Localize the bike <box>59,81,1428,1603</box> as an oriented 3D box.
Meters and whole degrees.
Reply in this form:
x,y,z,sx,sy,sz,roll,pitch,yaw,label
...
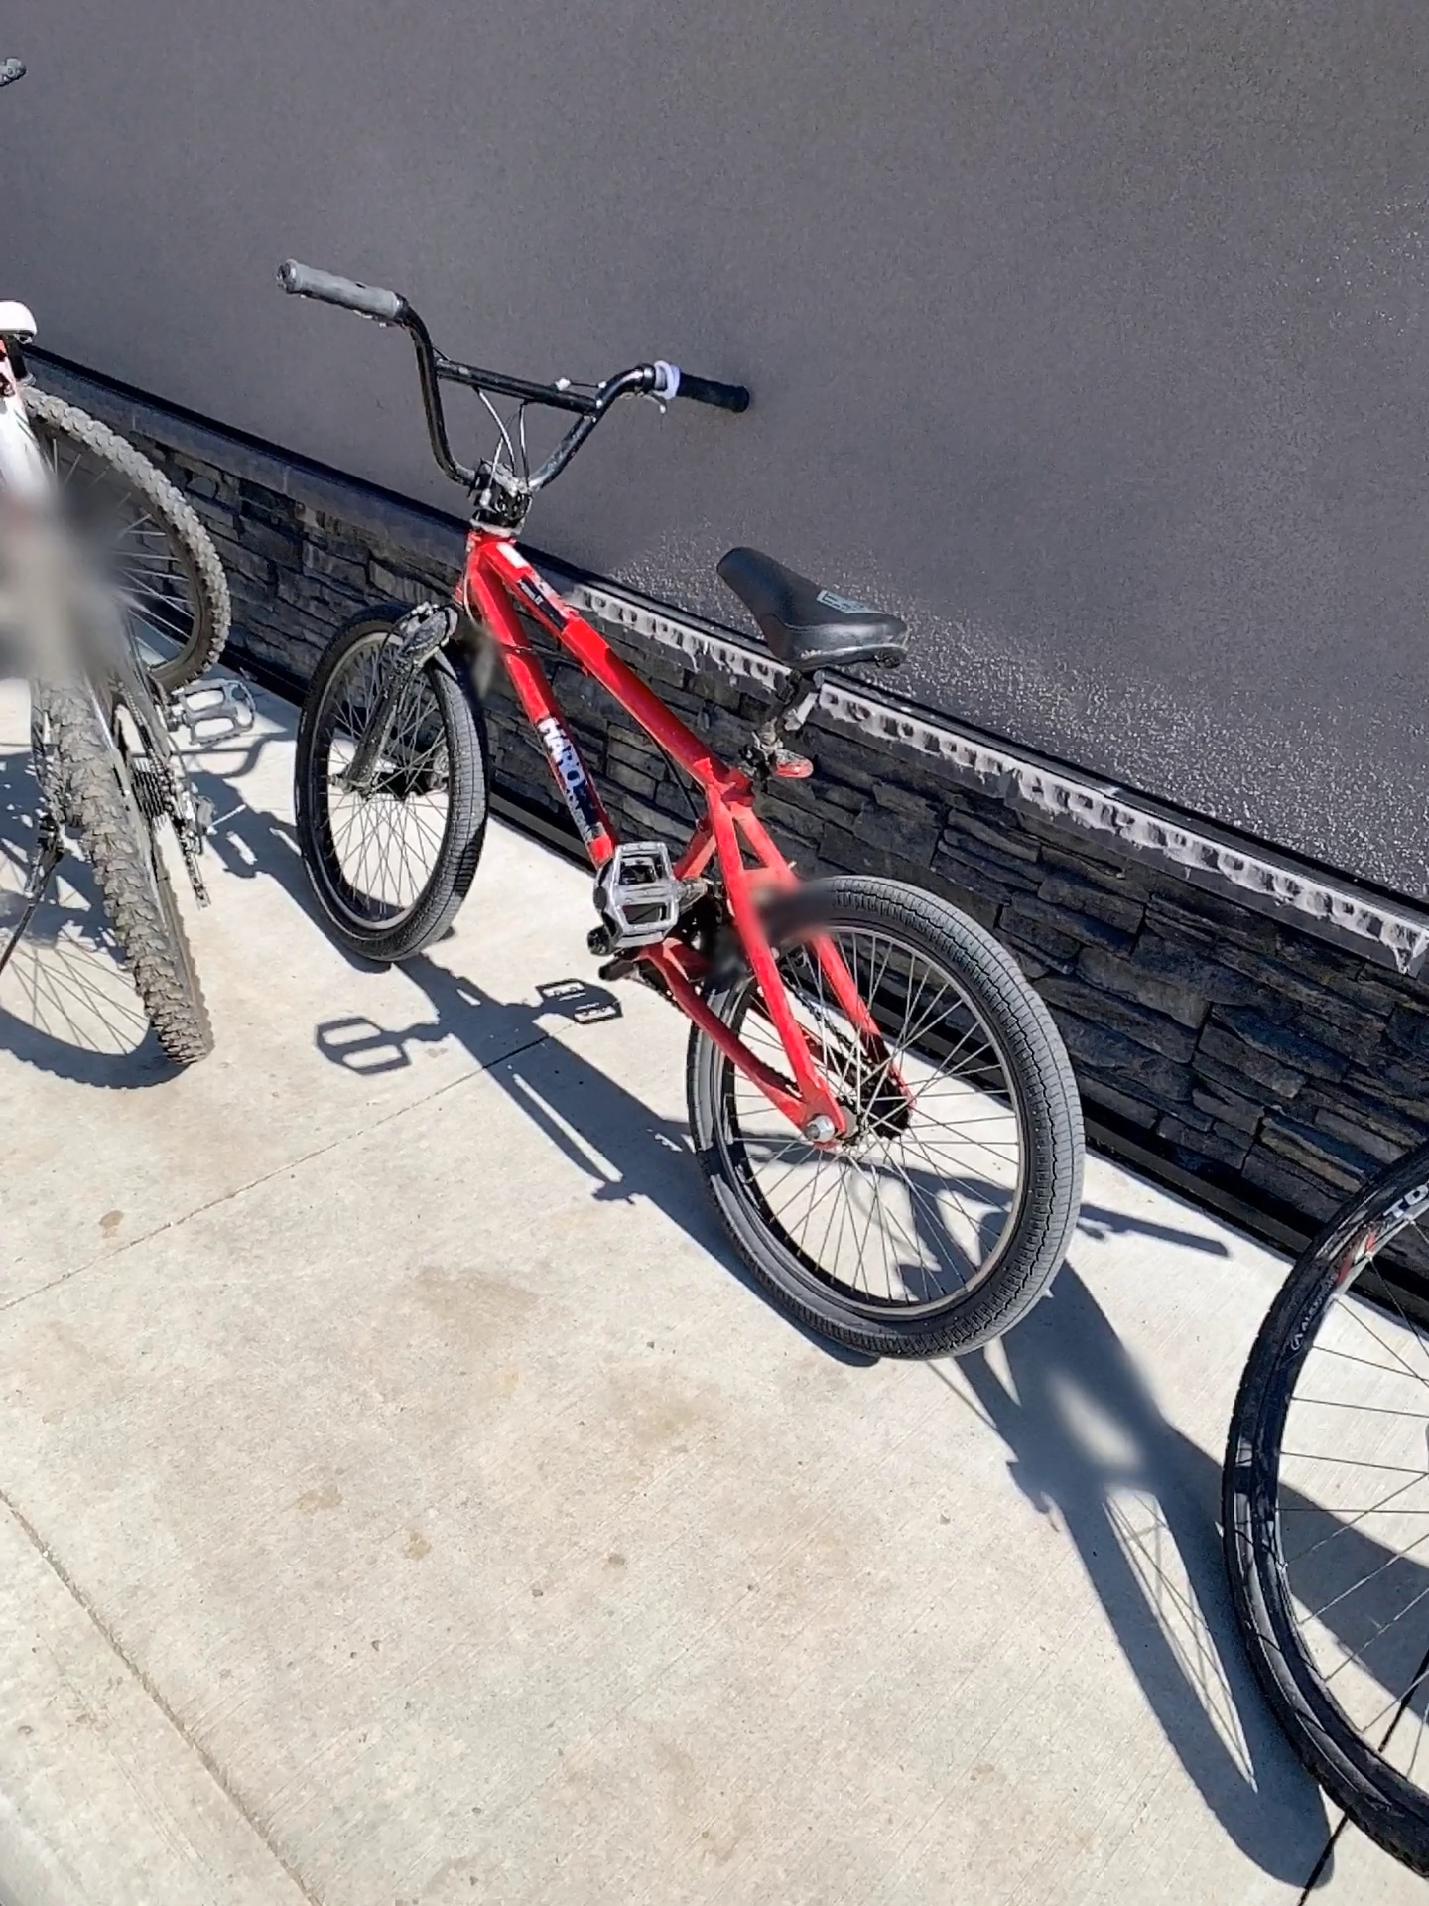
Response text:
x,y,z,sx,sy,sz,roll,pitch,yaw,label
-0.033,-0.280,1.641,0.775,0.908,1.316,-19,43,-39,bike
